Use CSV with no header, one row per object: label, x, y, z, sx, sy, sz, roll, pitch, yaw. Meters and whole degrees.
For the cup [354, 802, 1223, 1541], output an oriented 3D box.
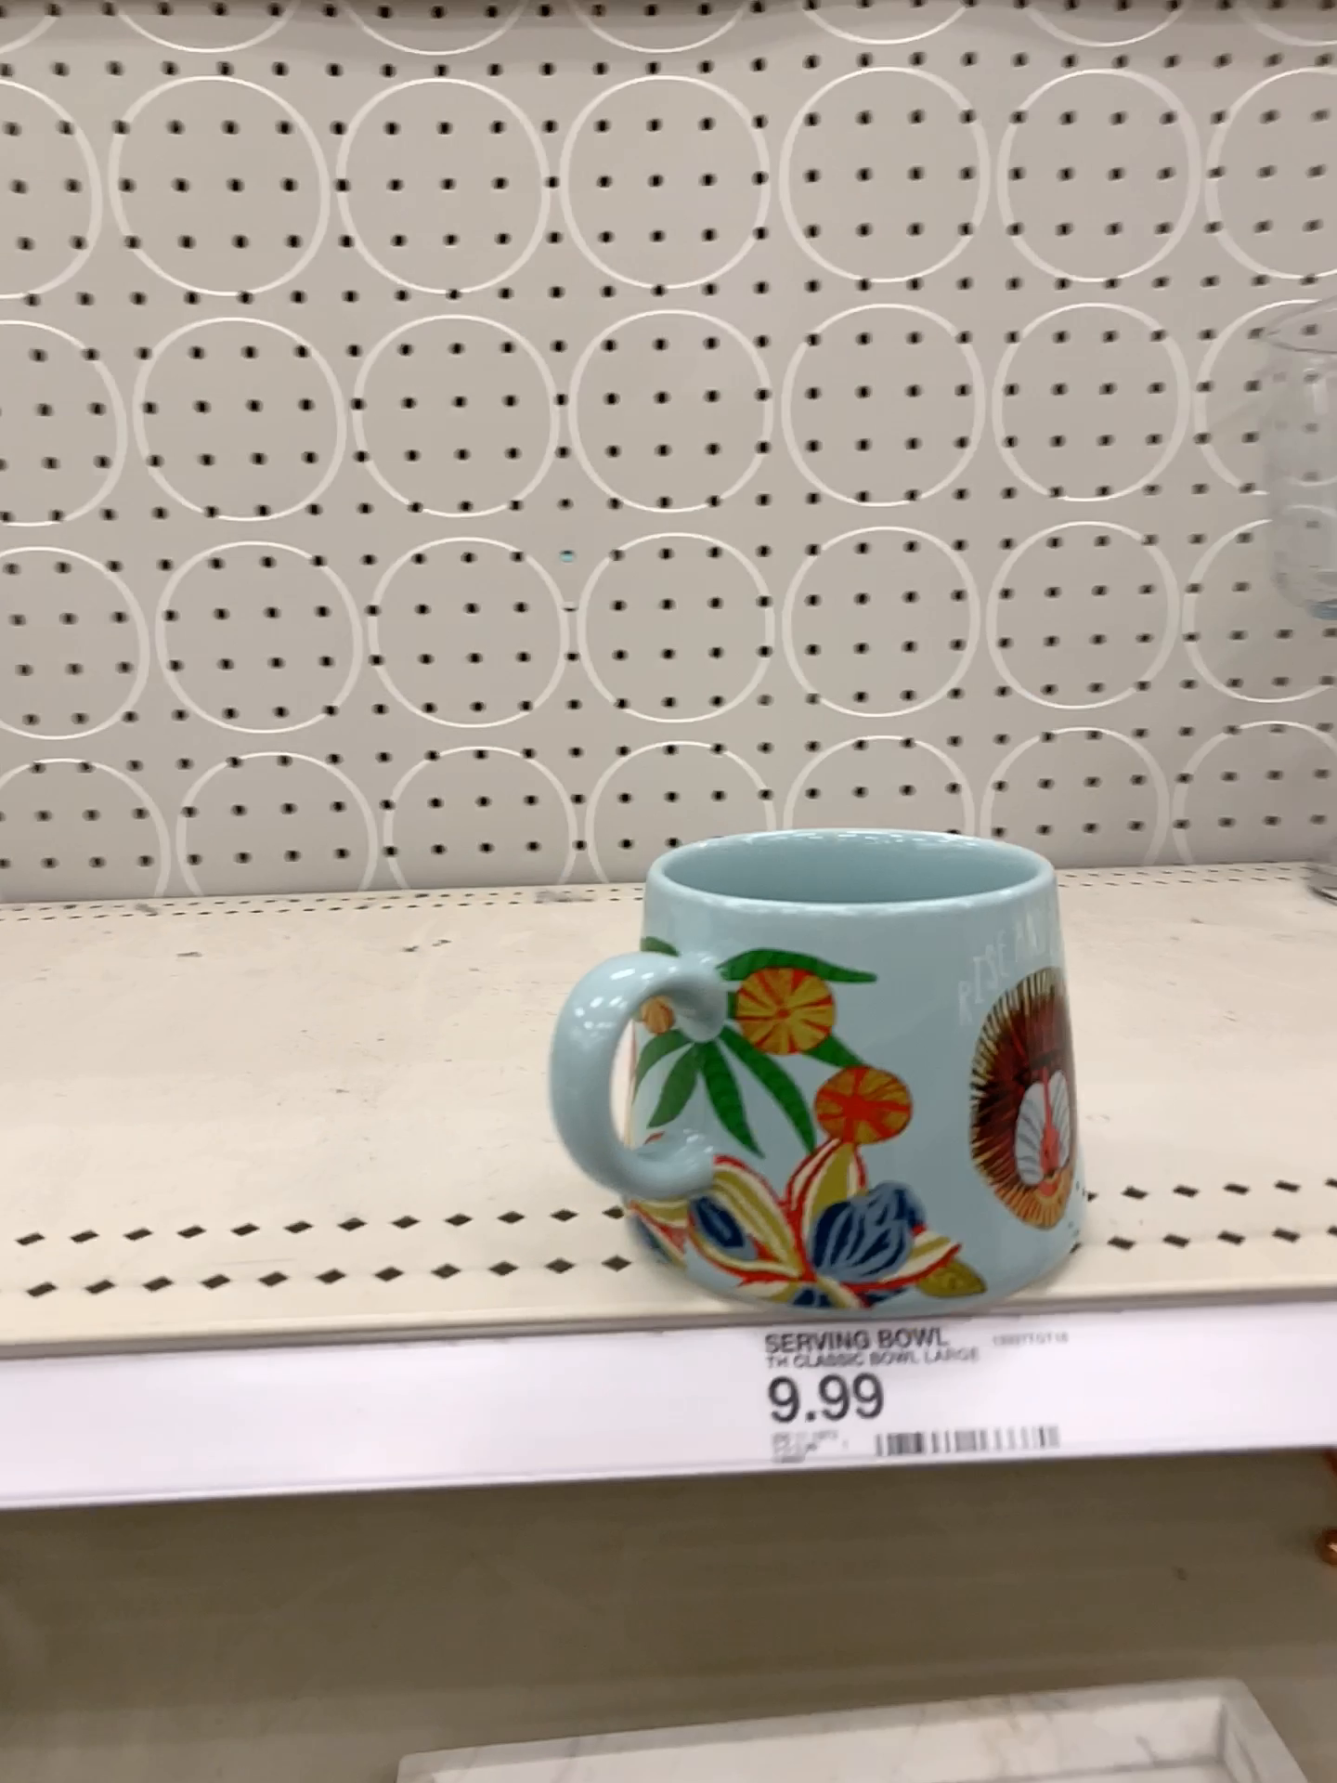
cup,0.026,0.040,0.302,0.140,0.090,0.120,-12,16,-38
